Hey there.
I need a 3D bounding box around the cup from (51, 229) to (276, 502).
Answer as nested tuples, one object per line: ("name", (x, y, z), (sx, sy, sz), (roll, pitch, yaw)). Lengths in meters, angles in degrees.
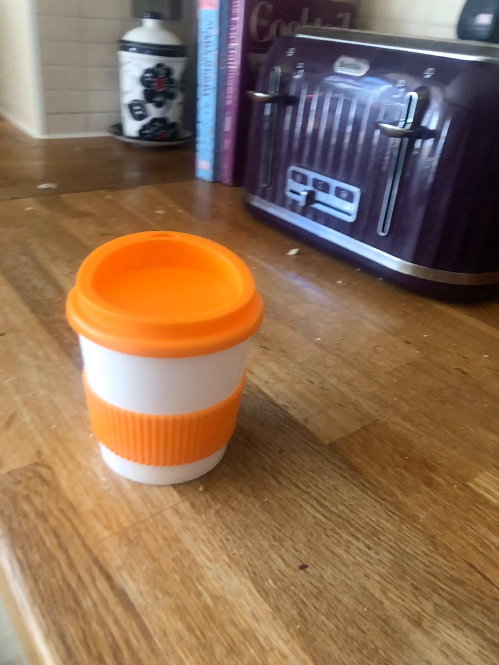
("cup", (-0.043, 0.010, 0.260), (0.081, 0.089, 0.089), (-2, 30, -13))
